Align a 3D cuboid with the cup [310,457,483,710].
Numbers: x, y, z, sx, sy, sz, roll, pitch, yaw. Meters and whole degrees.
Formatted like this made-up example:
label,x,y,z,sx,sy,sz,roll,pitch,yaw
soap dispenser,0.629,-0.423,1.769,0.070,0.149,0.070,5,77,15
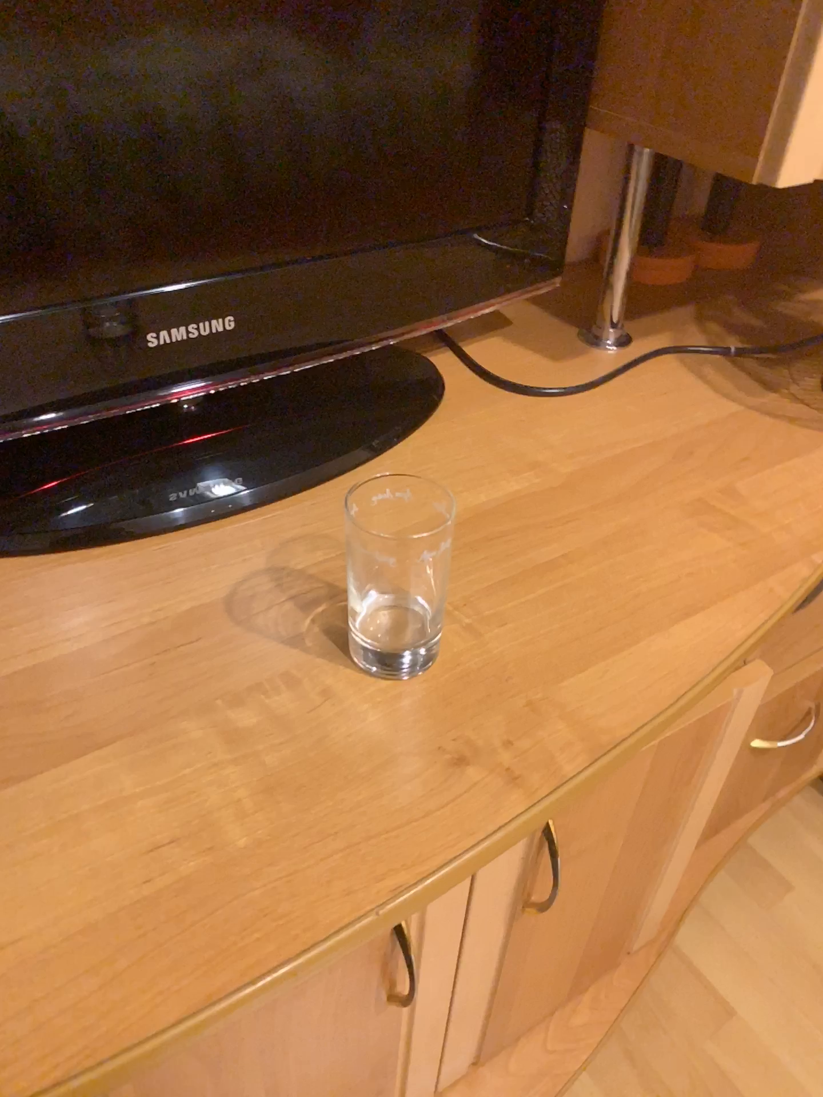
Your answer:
label,x,y,z,sx,sy,sz,roll,pitch,yaw
cup,-0.010,0.018,0.426,0.061,0.098,0.060,2,38,-1
